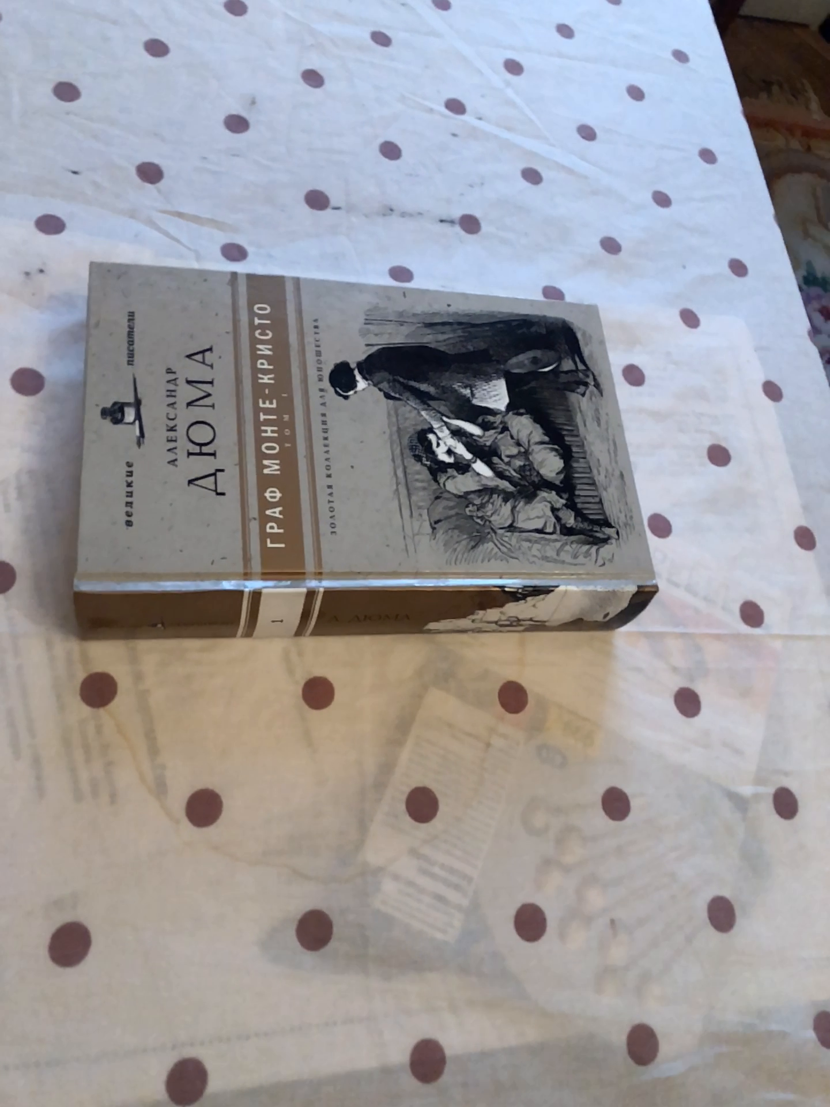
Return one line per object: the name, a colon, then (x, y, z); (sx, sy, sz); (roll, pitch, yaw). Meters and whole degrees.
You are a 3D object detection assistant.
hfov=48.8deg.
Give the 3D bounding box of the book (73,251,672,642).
book: (-0.017, -0.039, 0.353); (0.208, 0.040, 0.136); (0, 67, -16)
